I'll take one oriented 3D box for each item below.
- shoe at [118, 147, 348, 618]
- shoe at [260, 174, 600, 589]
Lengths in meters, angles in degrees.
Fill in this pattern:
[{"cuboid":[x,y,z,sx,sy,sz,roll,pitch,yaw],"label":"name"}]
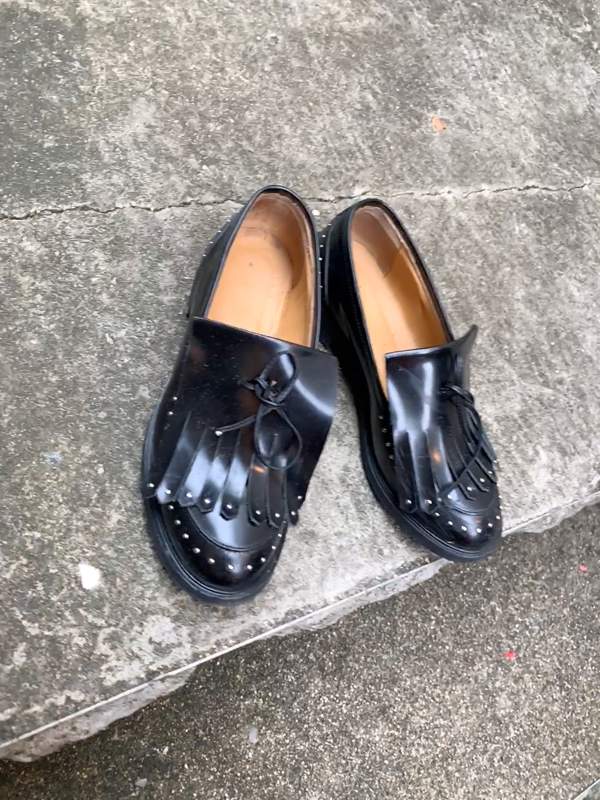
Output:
[{"cuboid":[-0.032,-0.012,0.351,0.094,0.080,0.247,11,62,-17],"label":"shoe"},{"cuboid":[0.074,-0.019,0.404,0.094,0.080,0.248,-15,73,-30],"label":"shoe"}]
